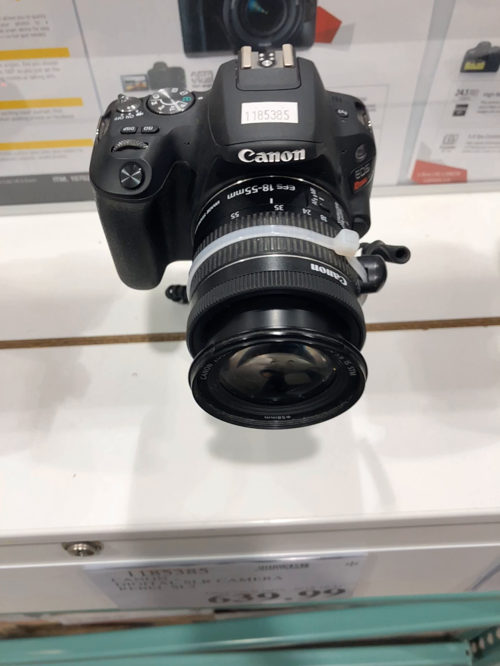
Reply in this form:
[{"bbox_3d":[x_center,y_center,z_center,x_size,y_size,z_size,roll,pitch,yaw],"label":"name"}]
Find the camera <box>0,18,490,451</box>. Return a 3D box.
[{"bbox_3d":[-0.007,-0.043,0.222,0.130,0.090,0.141,-4,52,-1],"label":"camera"}]
